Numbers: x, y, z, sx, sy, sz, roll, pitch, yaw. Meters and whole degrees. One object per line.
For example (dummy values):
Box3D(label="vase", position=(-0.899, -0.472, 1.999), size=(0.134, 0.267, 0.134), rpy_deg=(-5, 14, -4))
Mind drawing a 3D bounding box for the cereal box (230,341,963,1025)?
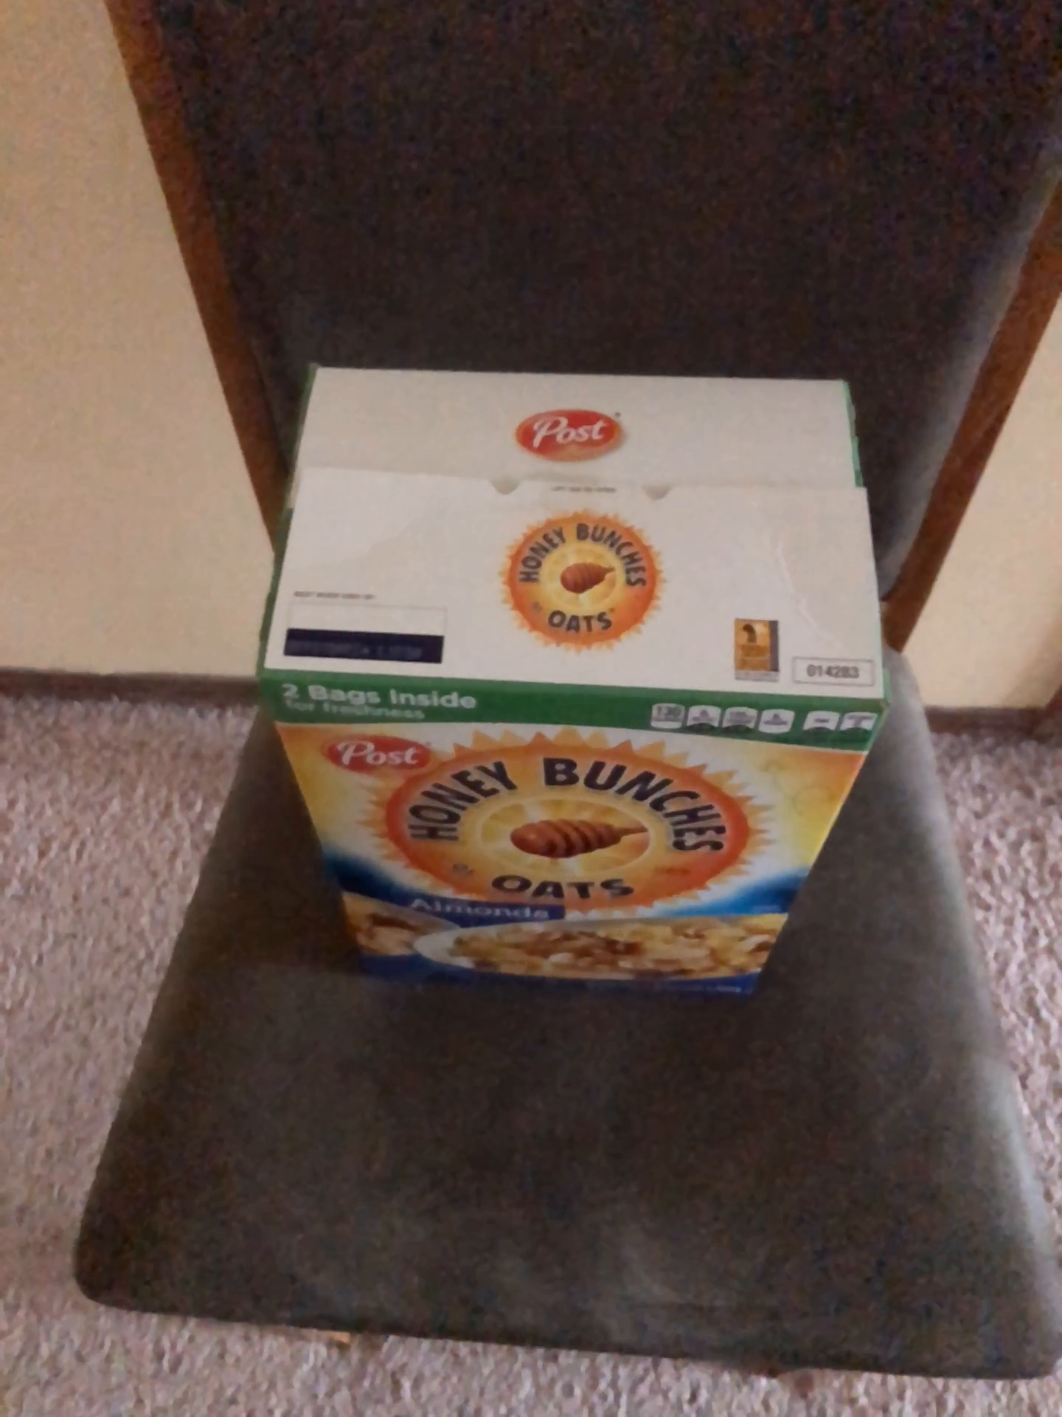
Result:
Box3D(label="cereal box", position=(0.027, 0.009, 0.515), size=(0.220, 0.280, 0.160), rpy_deg=(3, 58, 3))
